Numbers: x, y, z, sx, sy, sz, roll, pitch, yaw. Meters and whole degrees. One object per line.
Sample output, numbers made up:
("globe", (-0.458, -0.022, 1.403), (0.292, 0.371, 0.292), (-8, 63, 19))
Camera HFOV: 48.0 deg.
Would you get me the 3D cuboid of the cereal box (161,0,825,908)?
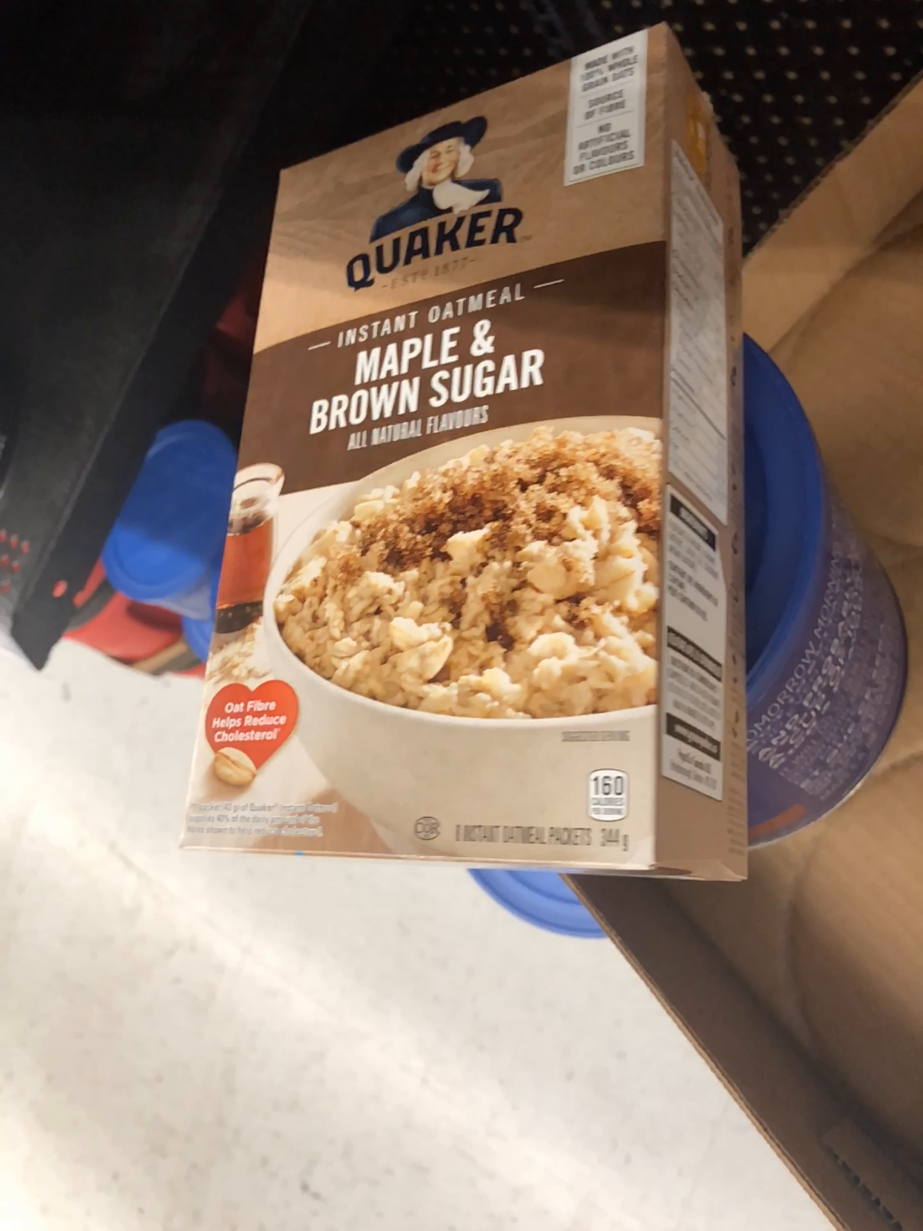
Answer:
("cereal box", (0.011, -0.032, 0.270), (0.140, 0.070, 0.200), (-6, 72, 30))
